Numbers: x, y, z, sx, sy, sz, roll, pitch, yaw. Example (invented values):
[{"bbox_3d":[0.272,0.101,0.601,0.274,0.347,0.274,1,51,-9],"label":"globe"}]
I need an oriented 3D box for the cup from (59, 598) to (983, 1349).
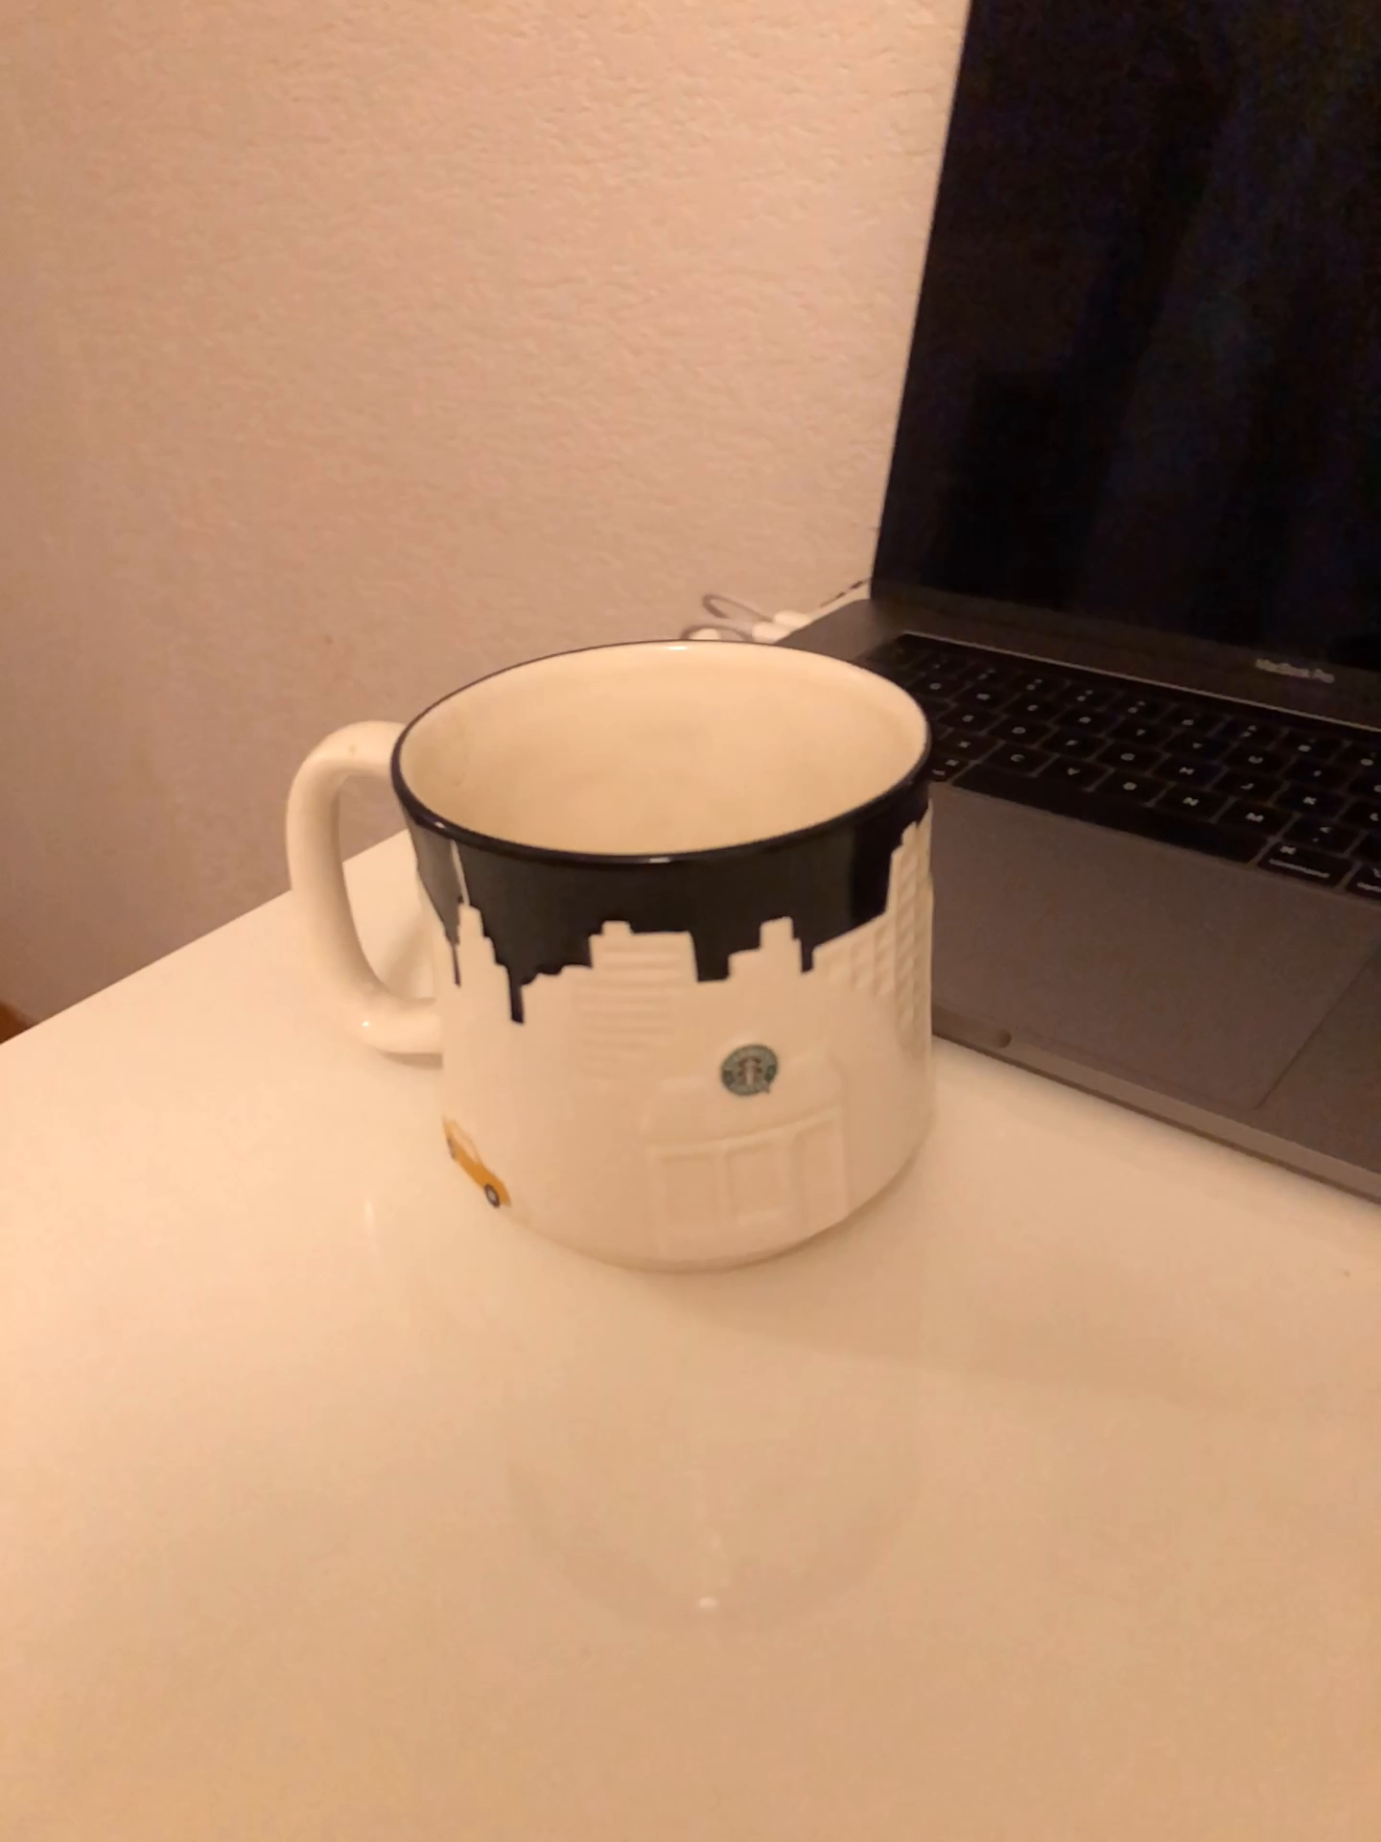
[{"bbox_3d":[-0.023,0.001,0.324,0.150,0.099,0.111,6,32,18],"label":"cup"}]
